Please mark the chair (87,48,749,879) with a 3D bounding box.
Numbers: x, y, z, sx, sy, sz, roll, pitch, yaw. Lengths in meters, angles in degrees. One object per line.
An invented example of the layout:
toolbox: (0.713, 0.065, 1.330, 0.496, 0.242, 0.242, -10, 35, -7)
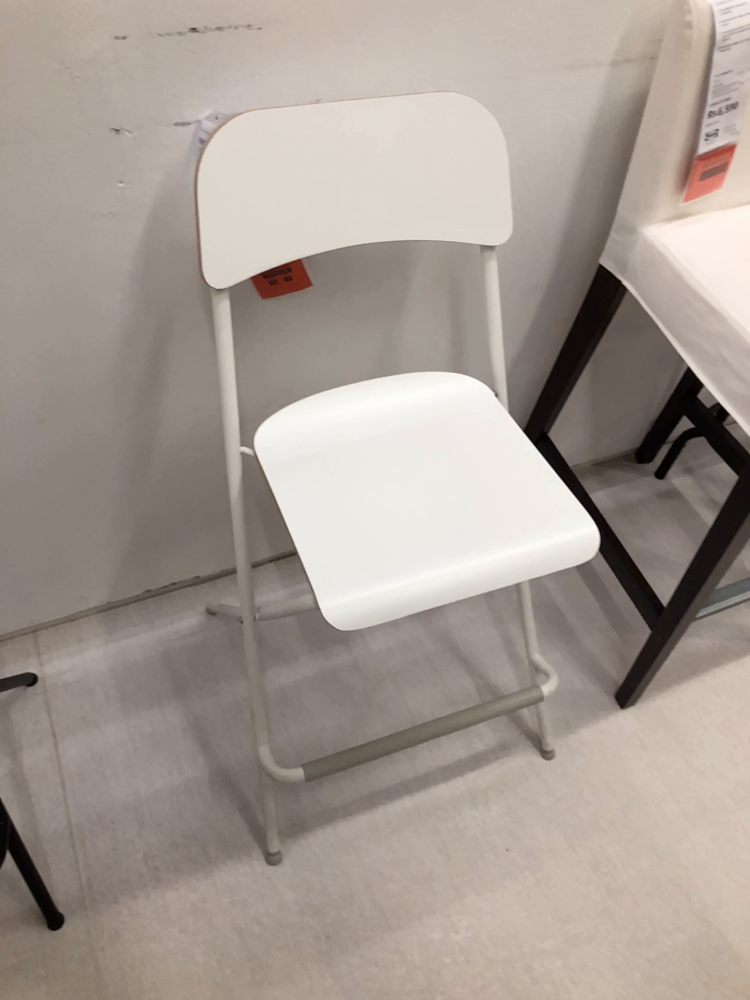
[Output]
chair: (0.037, 0.019, 1.058, 0.531, 0.895, 0.482, -16, 54, -17)
